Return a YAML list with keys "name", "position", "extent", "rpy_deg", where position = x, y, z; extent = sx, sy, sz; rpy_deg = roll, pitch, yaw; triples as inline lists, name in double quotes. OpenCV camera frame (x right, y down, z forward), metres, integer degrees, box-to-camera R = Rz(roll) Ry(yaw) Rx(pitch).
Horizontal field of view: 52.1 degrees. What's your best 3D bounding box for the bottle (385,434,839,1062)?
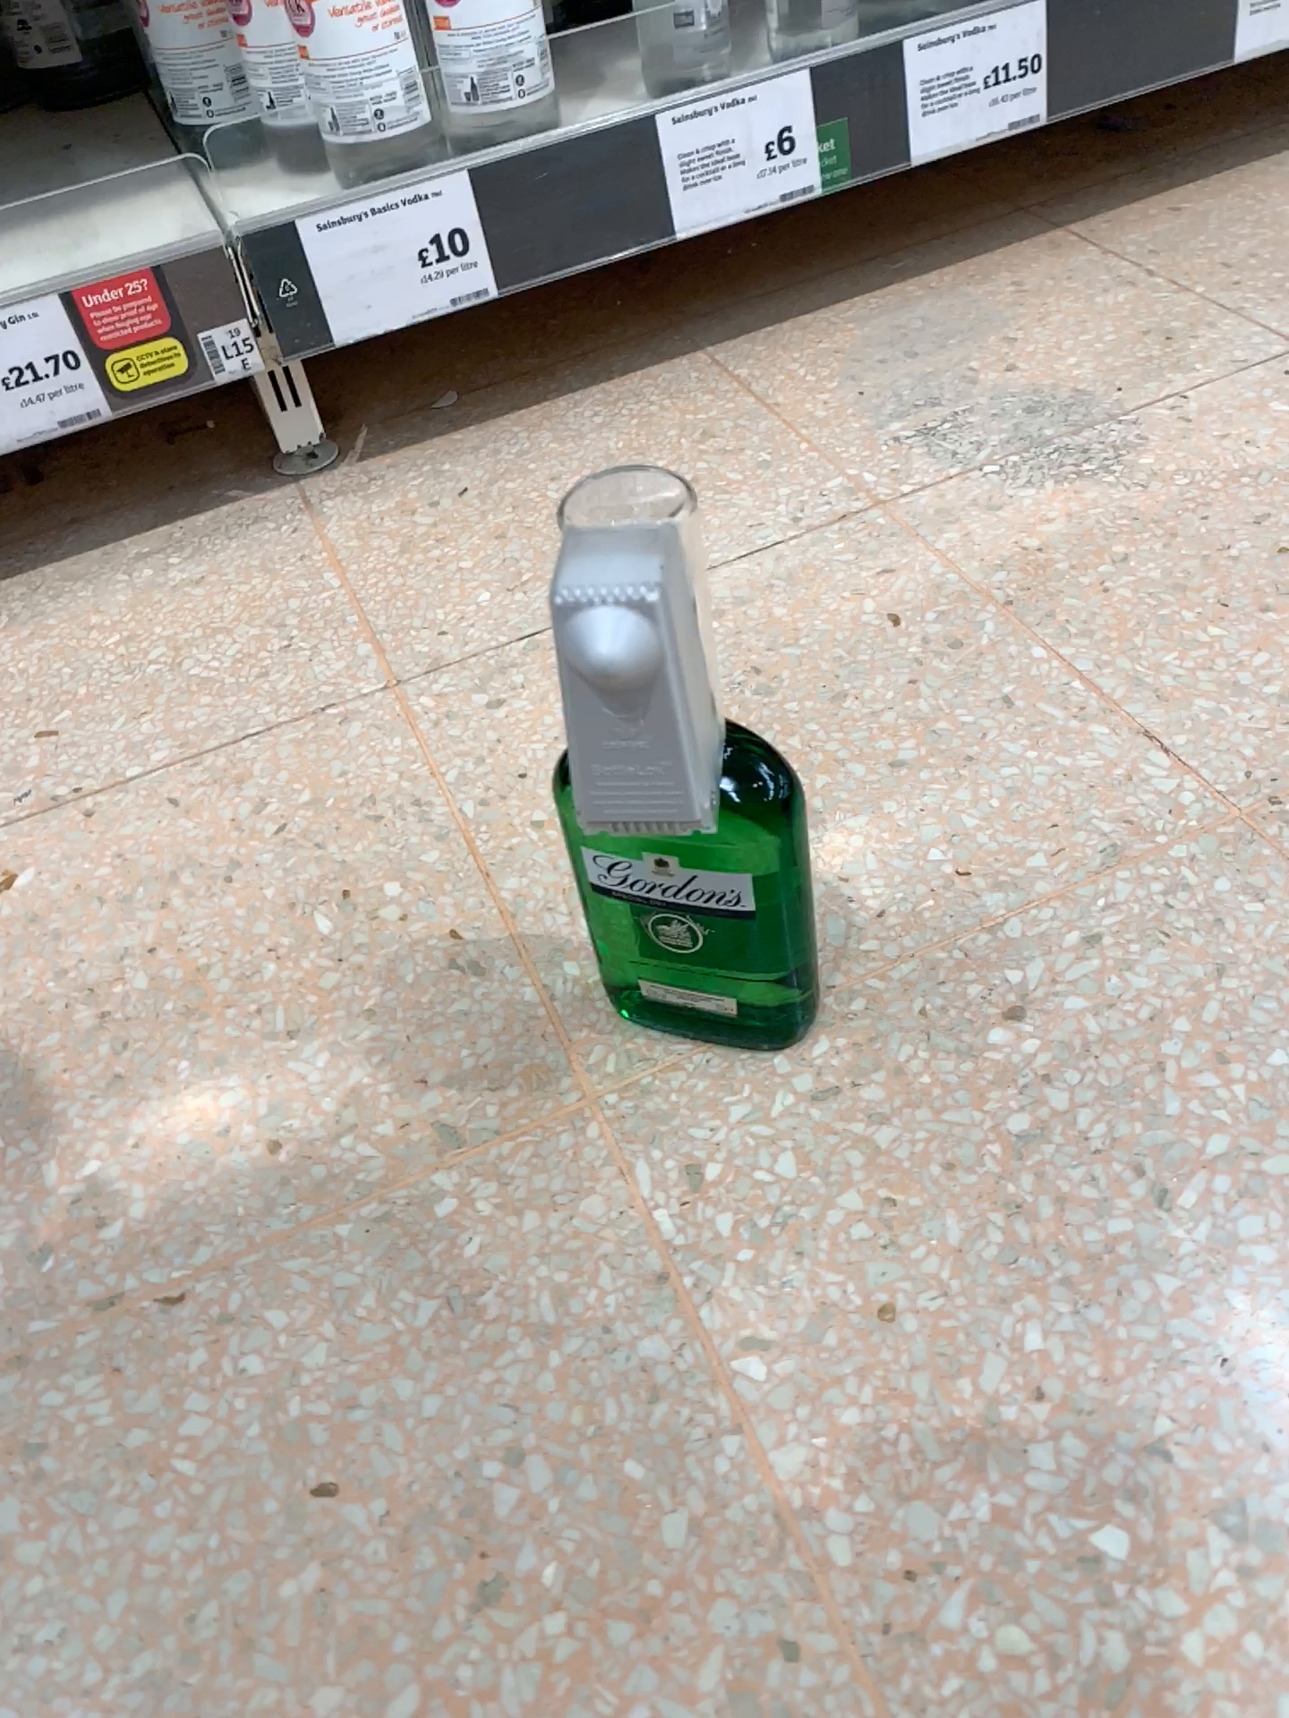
- name: "bottle"
  position: [0.002, -0.027, 0.424]
  extent: [0.102, 0.203, 0.056]
  rpy_deg: [9, 48, 20]
